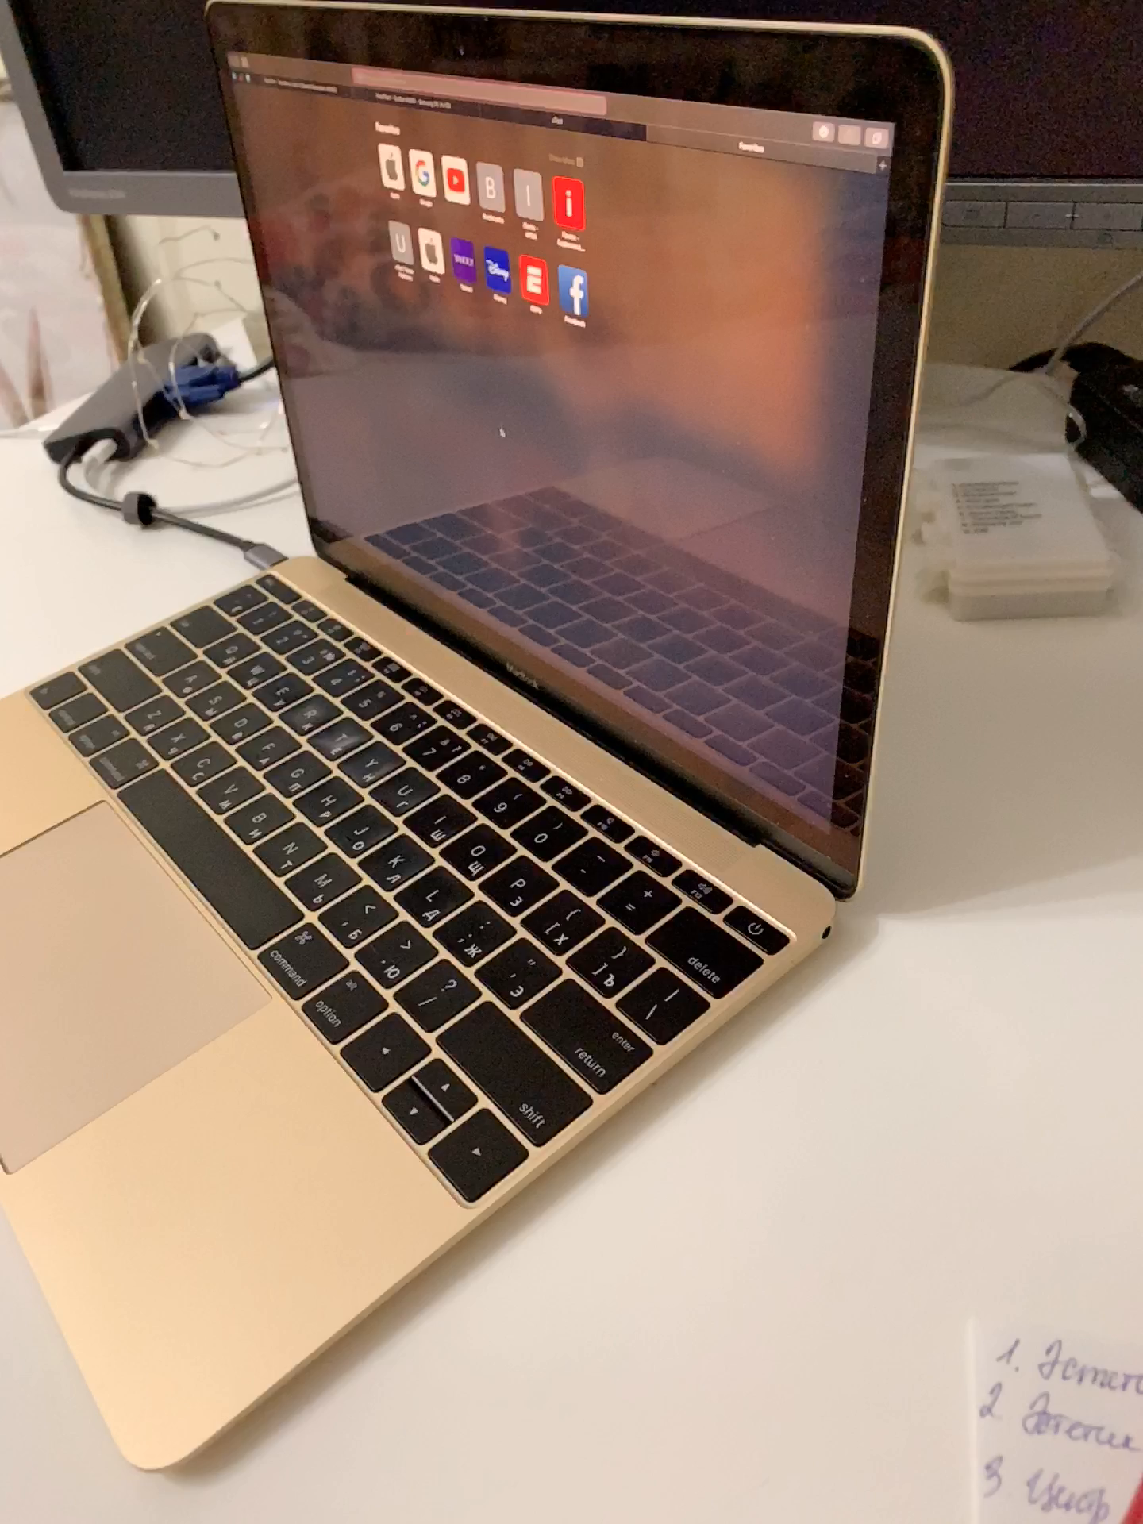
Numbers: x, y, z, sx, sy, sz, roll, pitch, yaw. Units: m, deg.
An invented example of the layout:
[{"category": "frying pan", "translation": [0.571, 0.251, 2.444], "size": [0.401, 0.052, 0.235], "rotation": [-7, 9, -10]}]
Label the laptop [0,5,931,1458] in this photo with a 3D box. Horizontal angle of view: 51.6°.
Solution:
[{"category": "laptop", "translation": [-0.086, -0.051, 0.269], "size": [0.197, 0.168, 0.248], "rotation": [-32, 44, -26]}]
